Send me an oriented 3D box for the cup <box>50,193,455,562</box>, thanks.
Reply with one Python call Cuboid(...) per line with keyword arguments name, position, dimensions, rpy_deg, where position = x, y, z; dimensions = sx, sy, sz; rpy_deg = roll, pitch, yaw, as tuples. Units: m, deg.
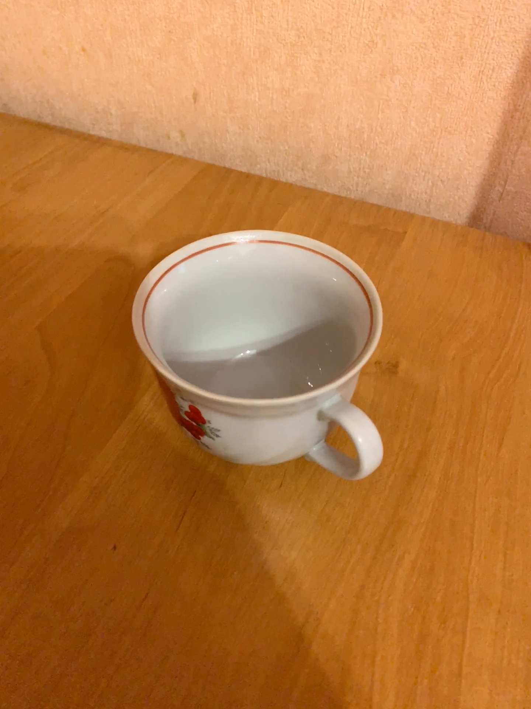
Cuboid(name="cup", position=(-0.005, 0.000, 0.205), dimensions=(0.109, 0.056, 0.083), rpy_deg=(31, 54, 25))
